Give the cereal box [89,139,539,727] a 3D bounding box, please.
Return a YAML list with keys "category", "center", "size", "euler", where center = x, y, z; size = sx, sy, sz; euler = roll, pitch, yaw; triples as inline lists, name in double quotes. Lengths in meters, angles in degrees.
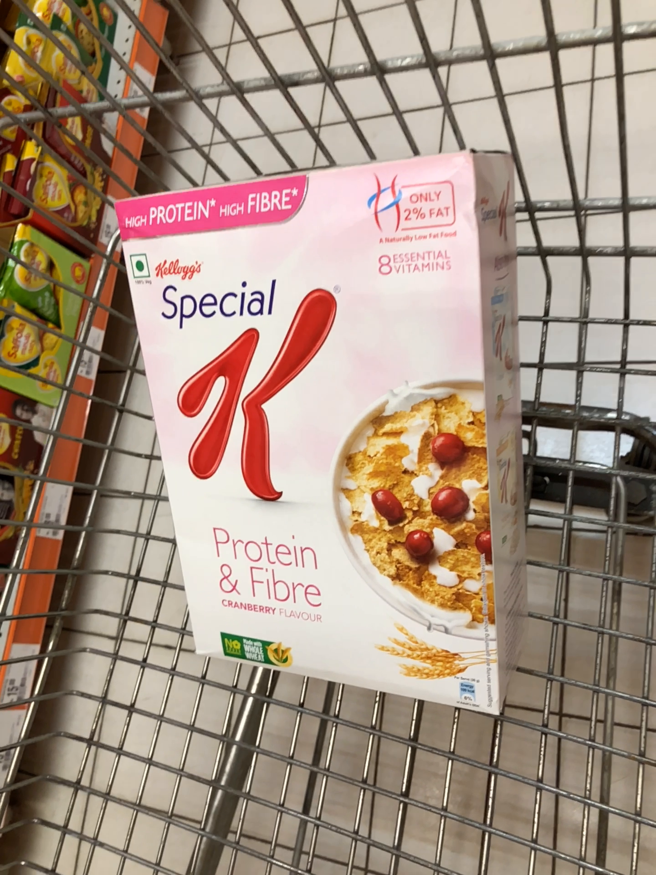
- category: "cereal box"
  center: [0.007, -0.005, 0.396]
  size: [0.190, 0.100, 0.269]
  euler: [3, 111, 25]
